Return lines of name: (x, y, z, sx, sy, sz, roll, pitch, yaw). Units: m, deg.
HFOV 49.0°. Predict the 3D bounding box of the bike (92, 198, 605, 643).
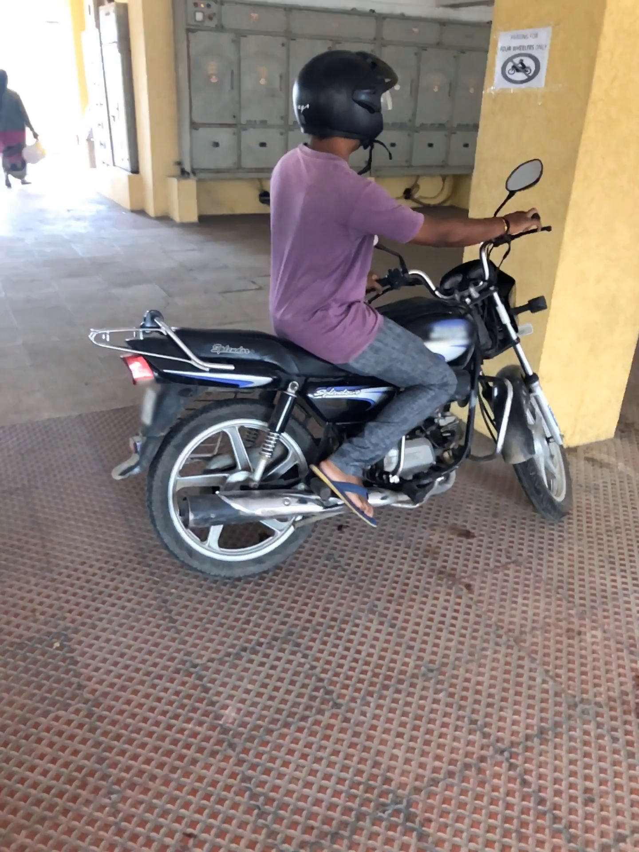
bike: (0.085, -0.134, 2.548, 1.544, 1.194, 0.769, -9, 28, -26)
